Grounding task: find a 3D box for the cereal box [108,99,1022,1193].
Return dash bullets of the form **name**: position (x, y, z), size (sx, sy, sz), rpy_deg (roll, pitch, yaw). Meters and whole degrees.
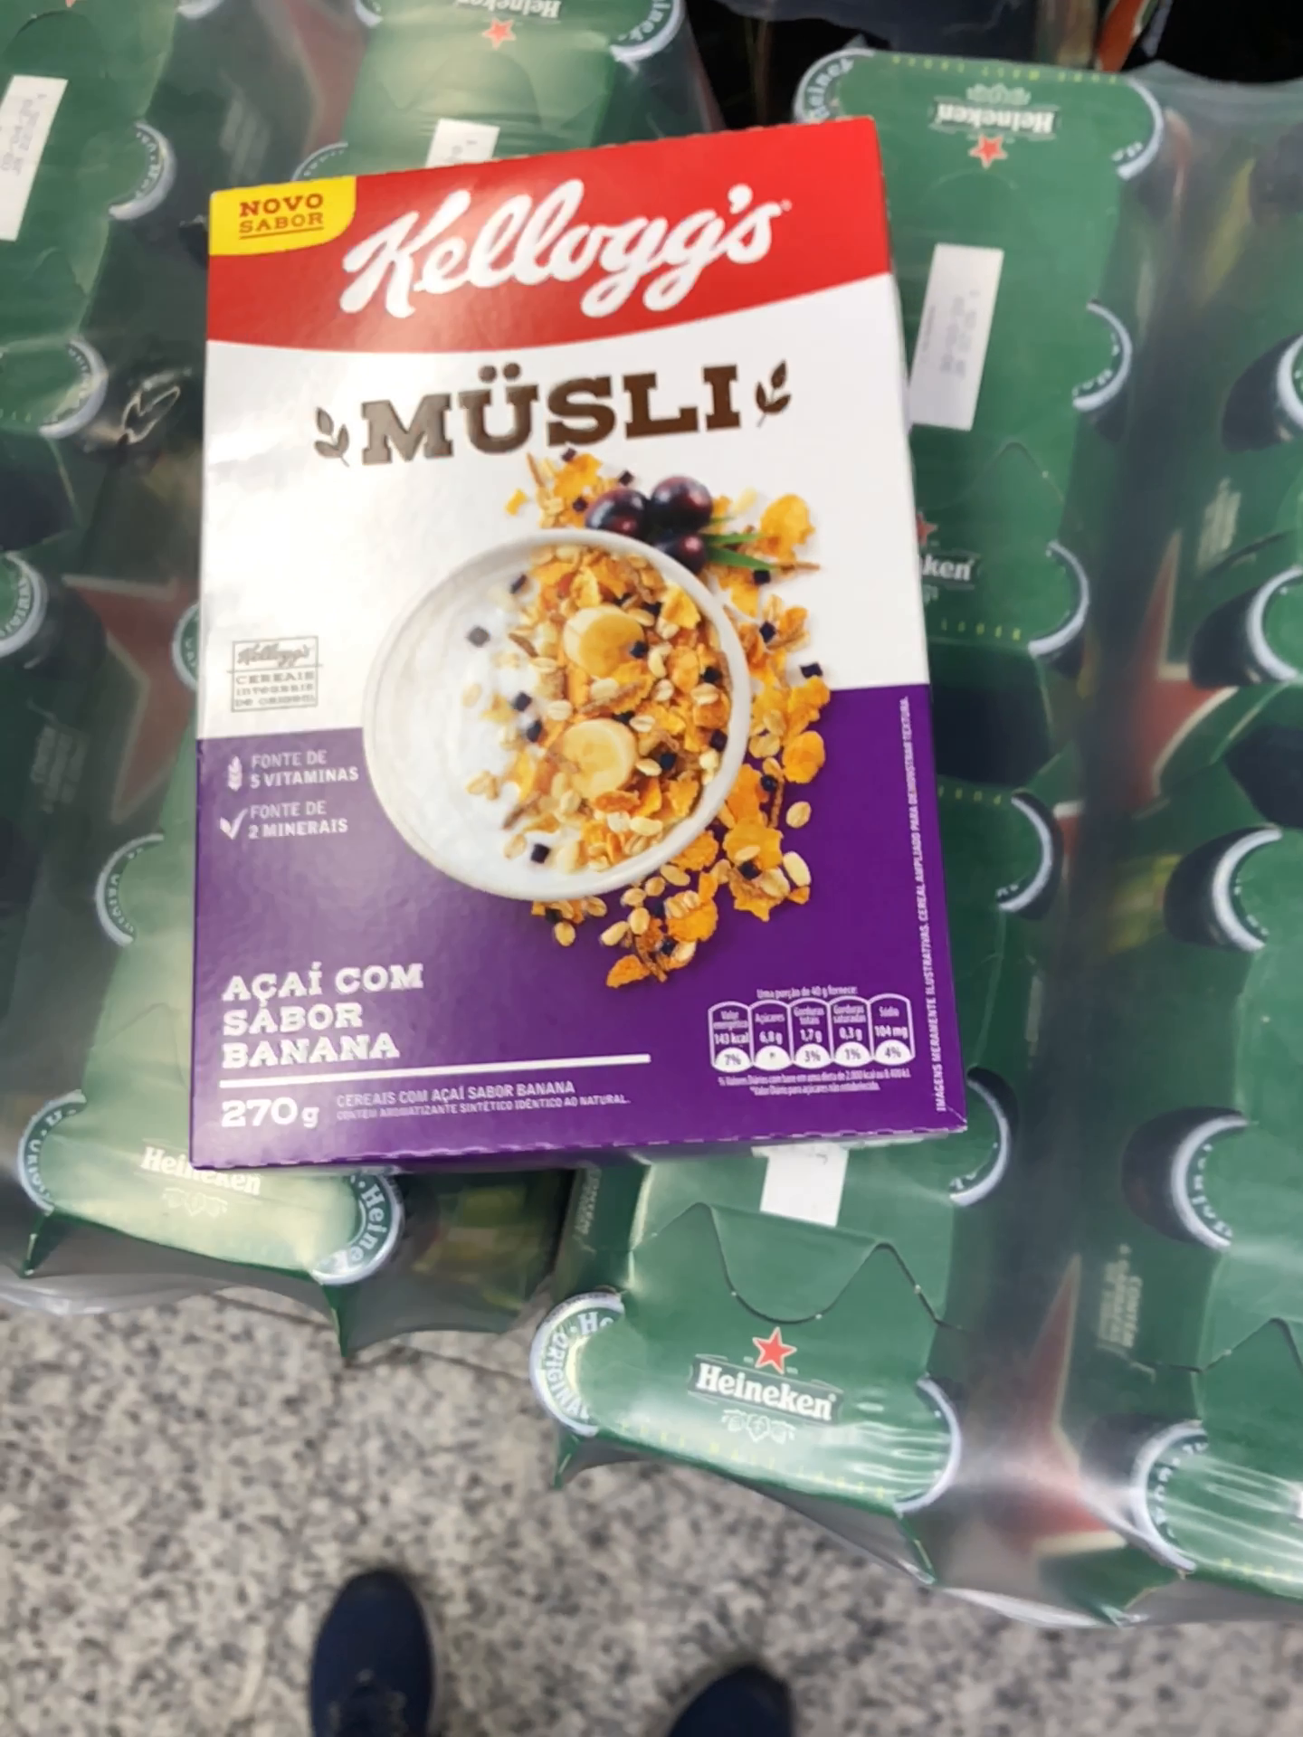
- **cereal box**: position (-0.019, -0.040, 0.275), size (0.150, 0.040, 0.190), rpy_deg (-4, 78, 6)
